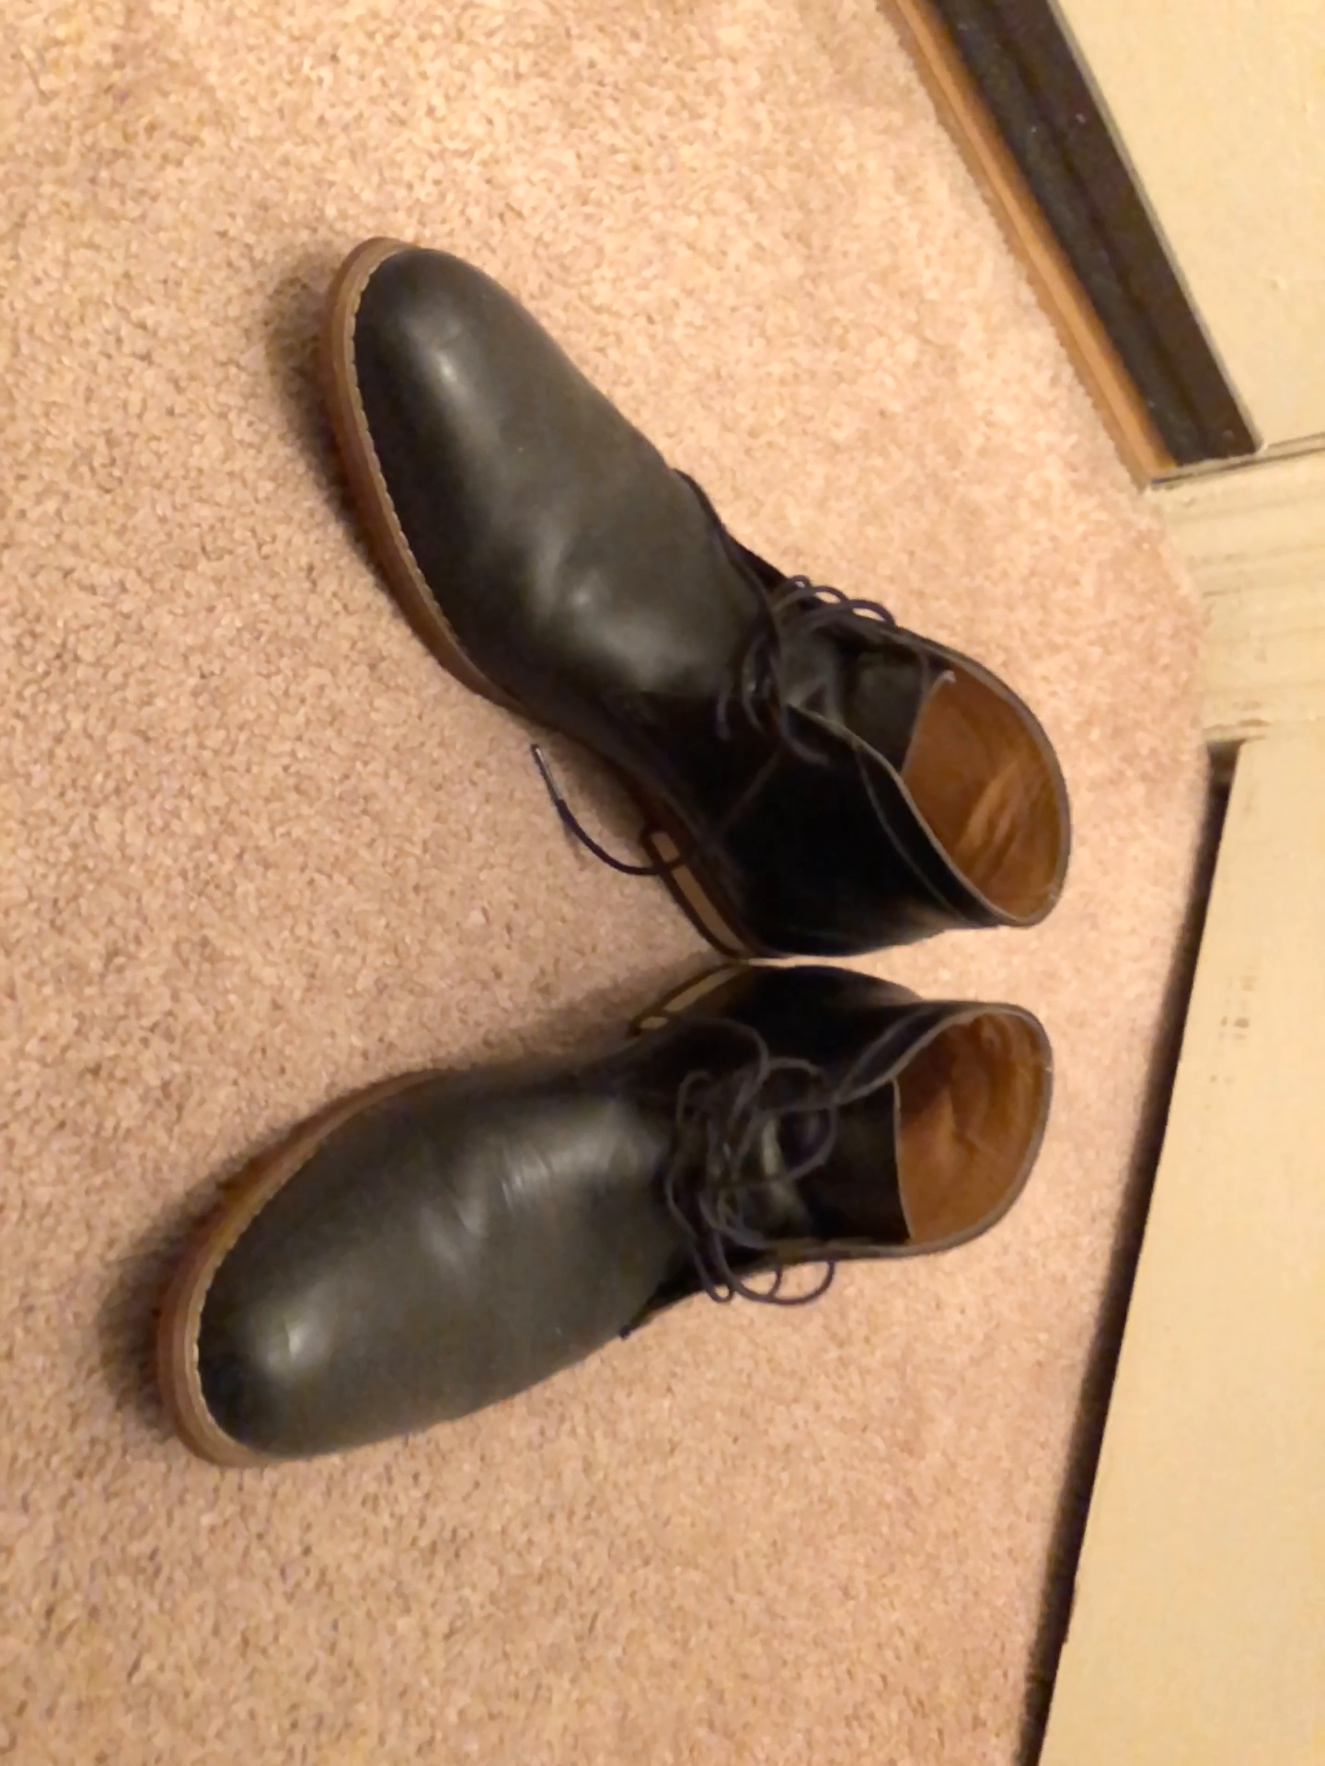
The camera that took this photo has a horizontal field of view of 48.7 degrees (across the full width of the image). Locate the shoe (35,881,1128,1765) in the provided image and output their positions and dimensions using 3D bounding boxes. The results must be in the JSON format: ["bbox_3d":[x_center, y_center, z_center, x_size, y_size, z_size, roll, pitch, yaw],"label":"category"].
[{"bbox_3d":[0.005,0.099,0.434,0.304,0.135,0.116,-25,108,-46],"label":"shoe"}]

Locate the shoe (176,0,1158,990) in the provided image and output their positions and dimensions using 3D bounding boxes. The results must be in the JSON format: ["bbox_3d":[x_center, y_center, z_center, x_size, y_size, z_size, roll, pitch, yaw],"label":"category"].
[{"bbox_3d":[0.027,-0.090,0.467,0.303,0.135,0.116,42,59,-40],"label":"shoe"}]
